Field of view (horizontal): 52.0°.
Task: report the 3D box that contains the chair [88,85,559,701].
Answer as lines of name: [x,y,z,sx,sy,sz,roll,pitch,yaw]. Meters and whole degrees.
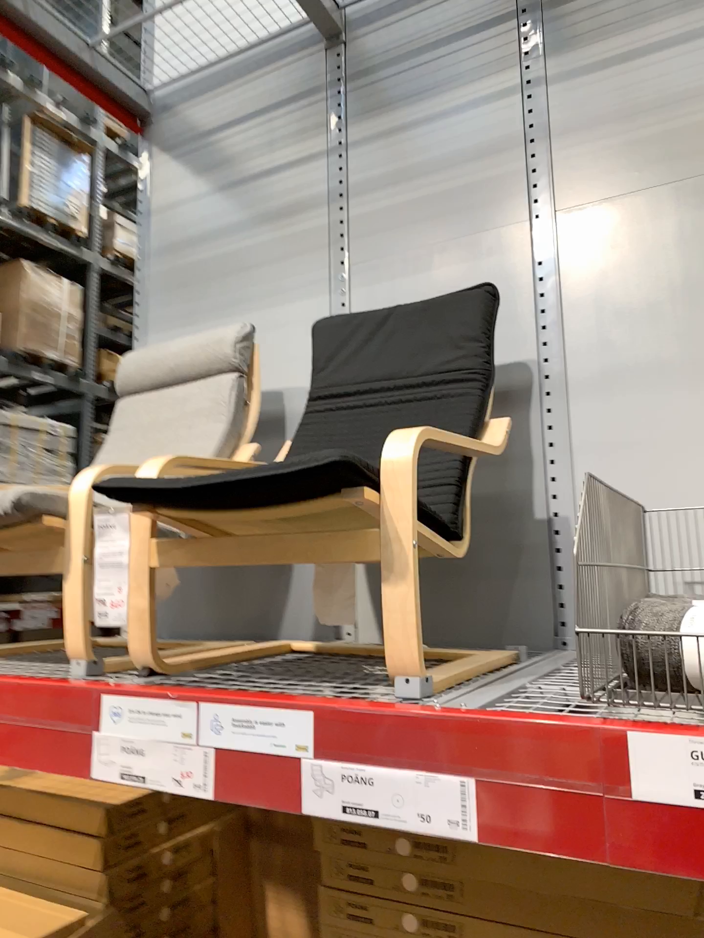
chair: [-0.005,-0.073,1.678,0.720,1.012,0.838,-6,-10,27]
